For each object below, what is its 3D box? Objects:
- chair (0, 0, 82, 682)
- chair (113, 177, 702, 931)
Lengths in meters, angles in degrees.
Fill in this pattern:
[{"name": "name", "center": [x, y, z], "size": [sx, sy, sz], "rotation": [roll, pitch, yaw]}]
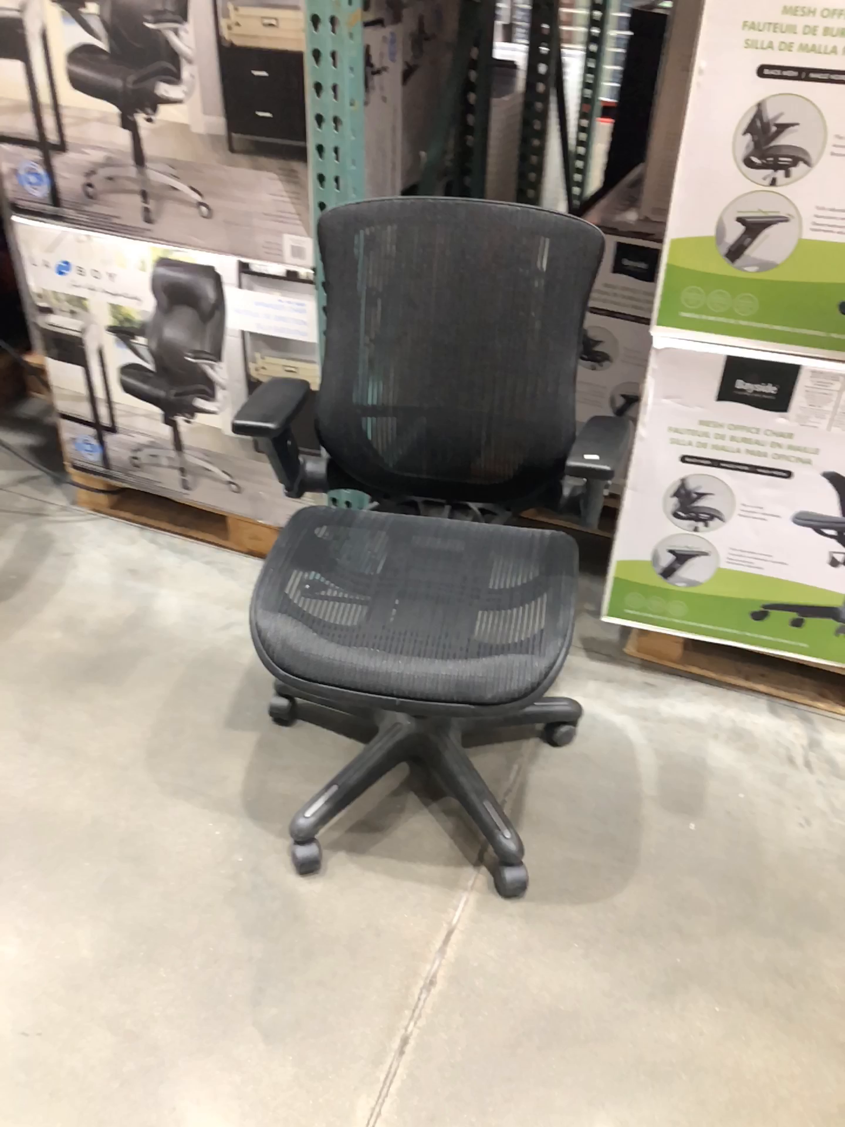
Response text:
[{"name": "chair", "center": [-1.429, -0.520, 1.918], "size": [0.904, 1.145, 0.802], "rotation": [9, 37, 9]}, {"name": "chair", "center": [0.024, -0.034, 1.532], "size": [0.634, 0.936, 0.702], "rotation": [8, 37, 8]}]
